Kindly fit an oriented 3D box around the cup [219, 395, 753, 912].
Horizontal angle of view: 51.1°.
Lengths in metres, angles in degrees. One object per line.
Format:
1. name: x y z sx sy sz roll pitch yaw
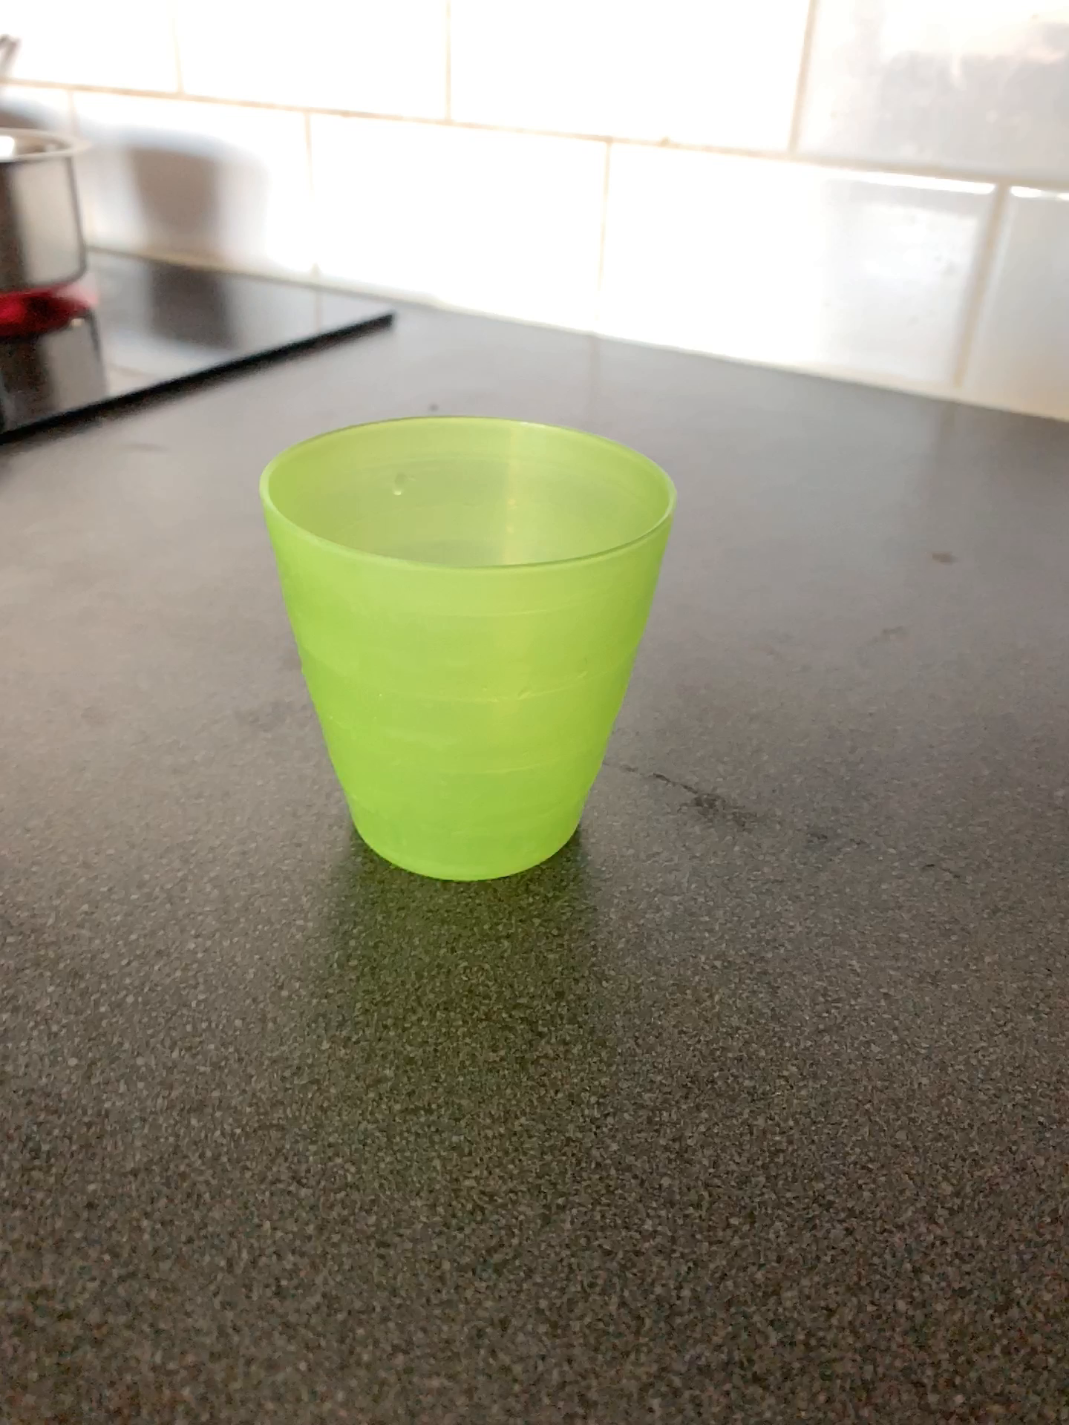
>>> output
1. cup: -0.012 -0.015 0.241 0.089 0.080 0.078 0 34 -5
